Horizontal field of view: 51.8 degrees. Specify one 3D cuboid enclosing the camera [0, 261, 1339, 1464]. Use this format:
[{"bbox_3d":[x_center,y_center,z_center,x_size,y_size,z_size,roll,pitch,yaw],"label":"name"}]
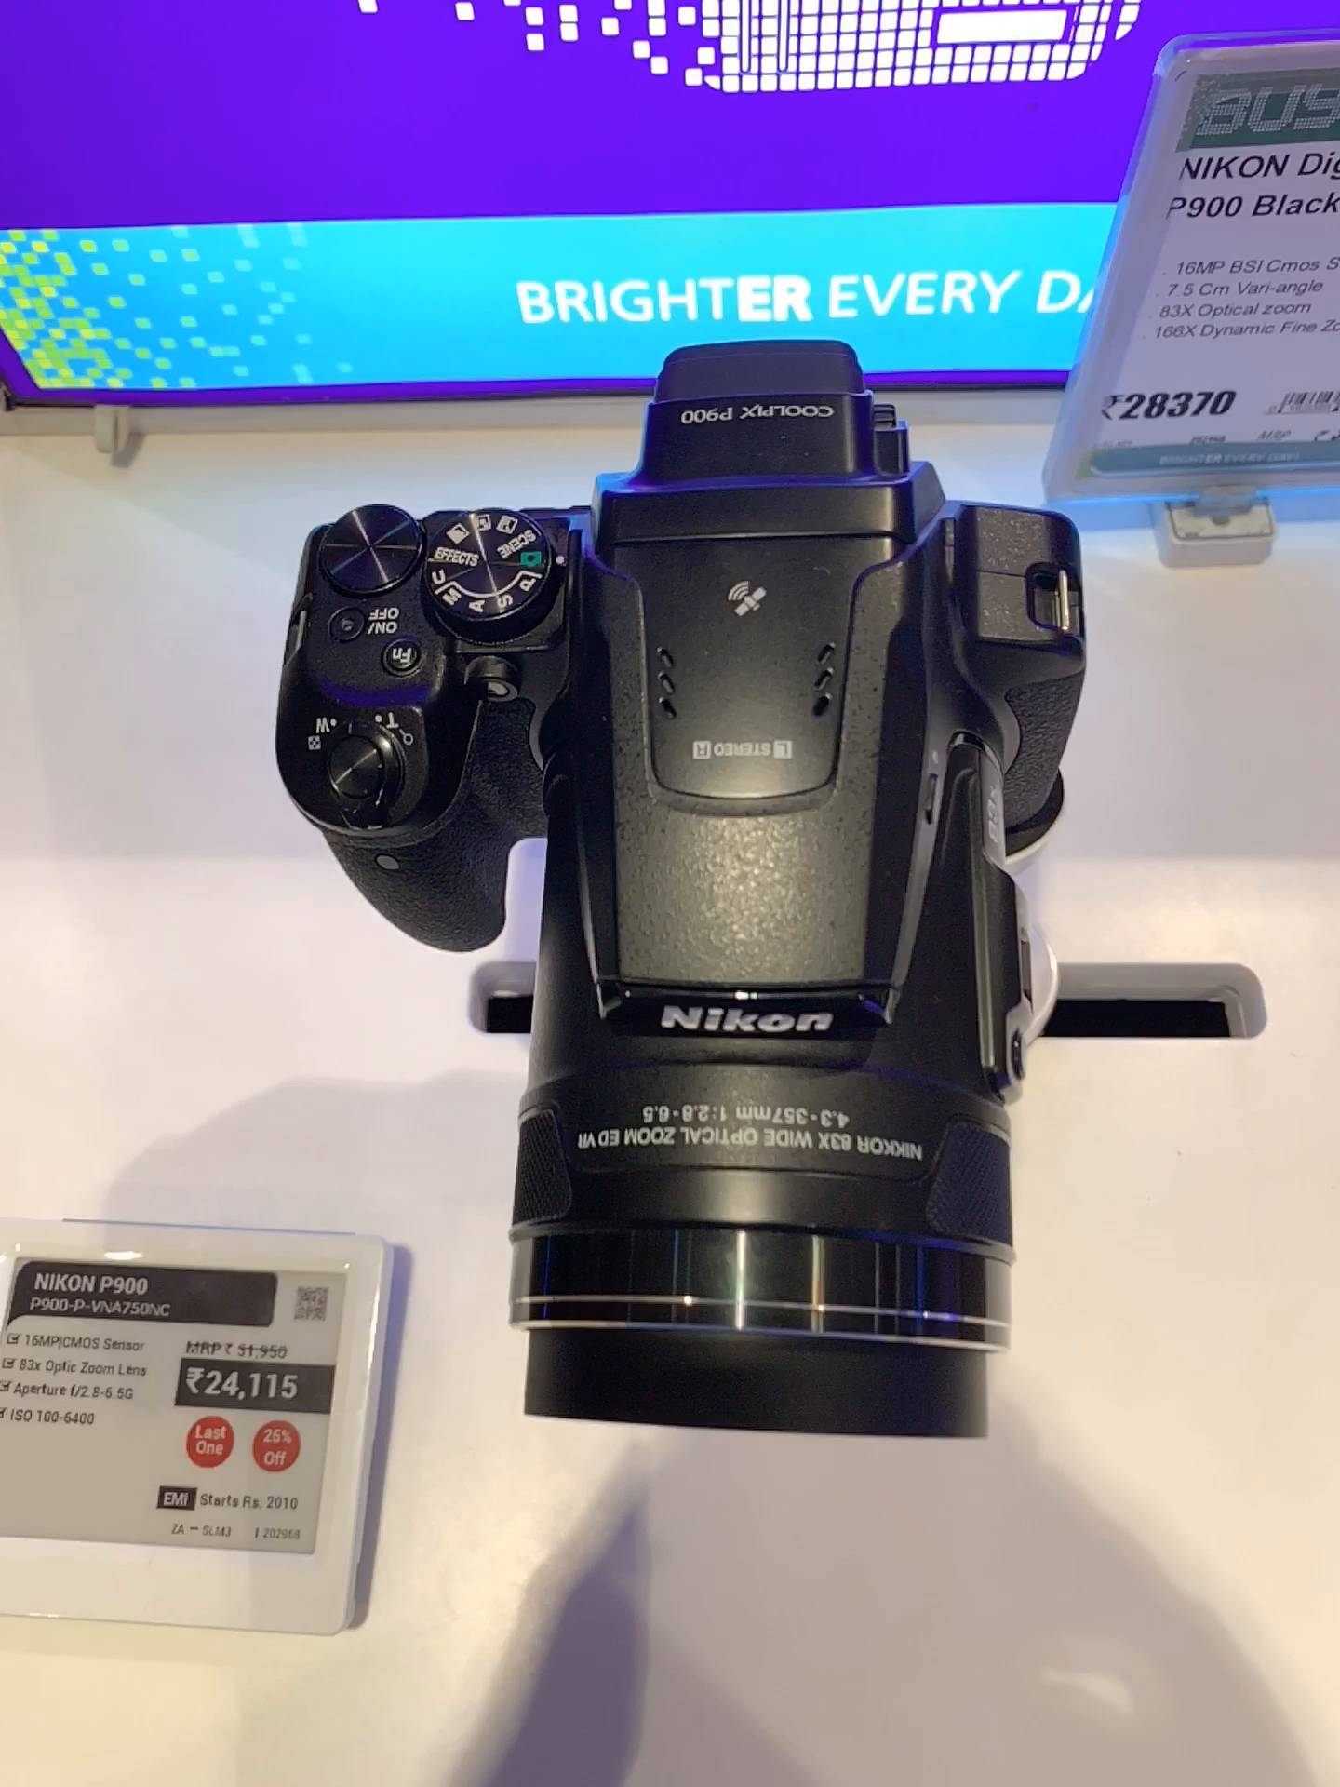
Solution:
[{"bbox_3d":[0.003,-0.001,0.213,0.140,0.090,0.160,0,65,2],"label":"camera"}]
